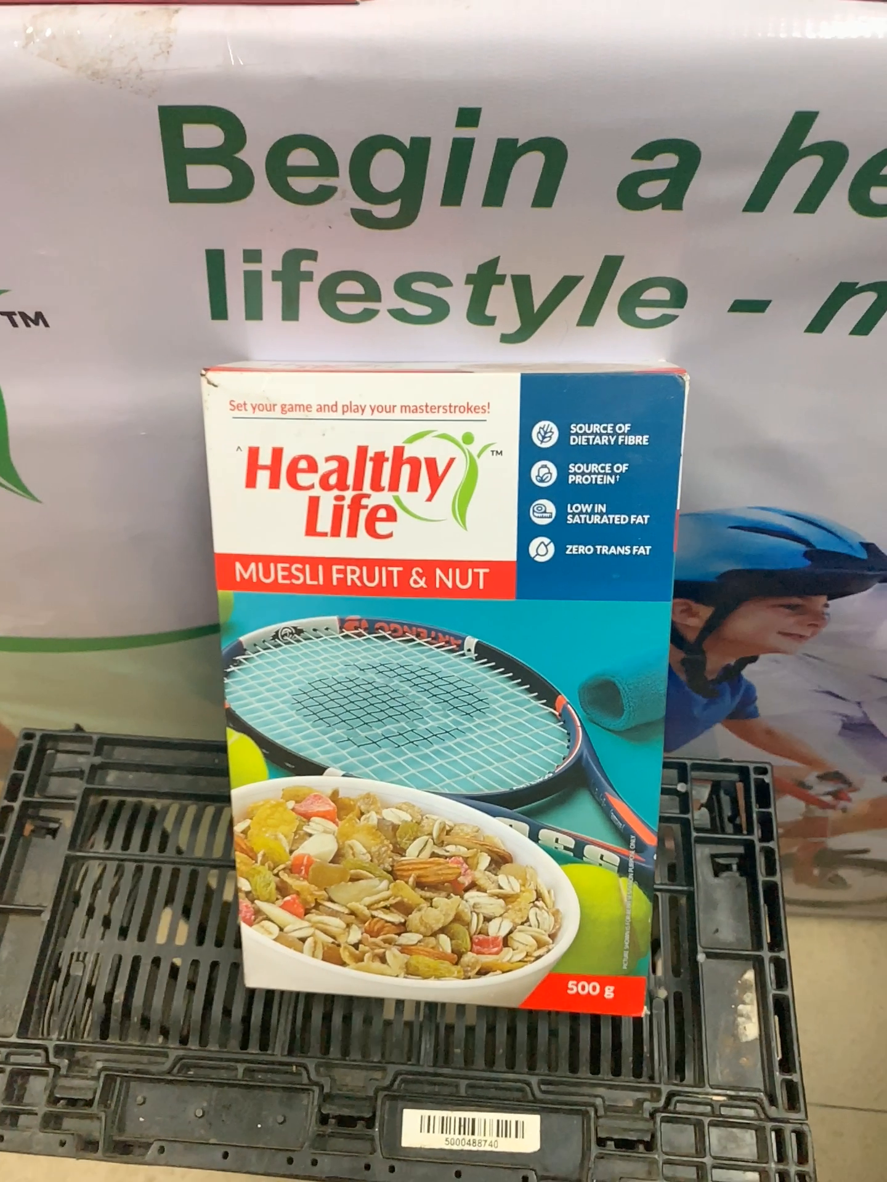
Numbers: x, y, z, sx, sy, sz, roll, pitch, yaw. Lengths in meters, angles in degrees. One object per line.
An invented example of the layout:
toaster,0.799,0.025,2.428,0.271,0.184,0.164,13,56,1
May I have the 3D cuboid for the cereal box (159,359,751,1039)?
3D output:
cereal box,0.005,0.039,0.359,0.190,0.250,0.070,1,16,6
